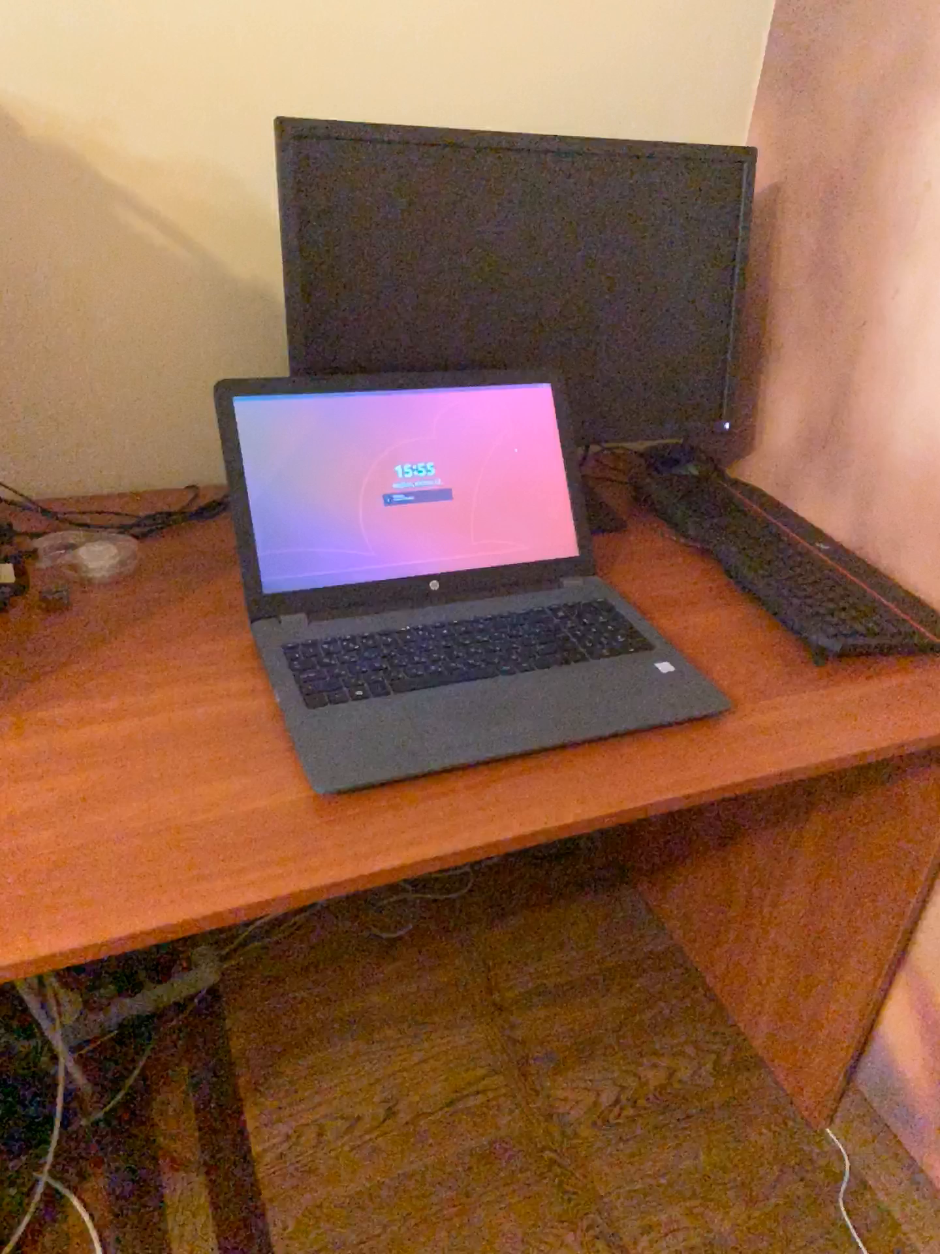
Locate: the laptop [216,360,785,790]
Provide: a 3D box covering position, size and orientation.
[{"bbox_3d":[-0.005,-0.084,0.856,0.366,0.181,0.376,-8,34,-21],"label":"laptop"}]
